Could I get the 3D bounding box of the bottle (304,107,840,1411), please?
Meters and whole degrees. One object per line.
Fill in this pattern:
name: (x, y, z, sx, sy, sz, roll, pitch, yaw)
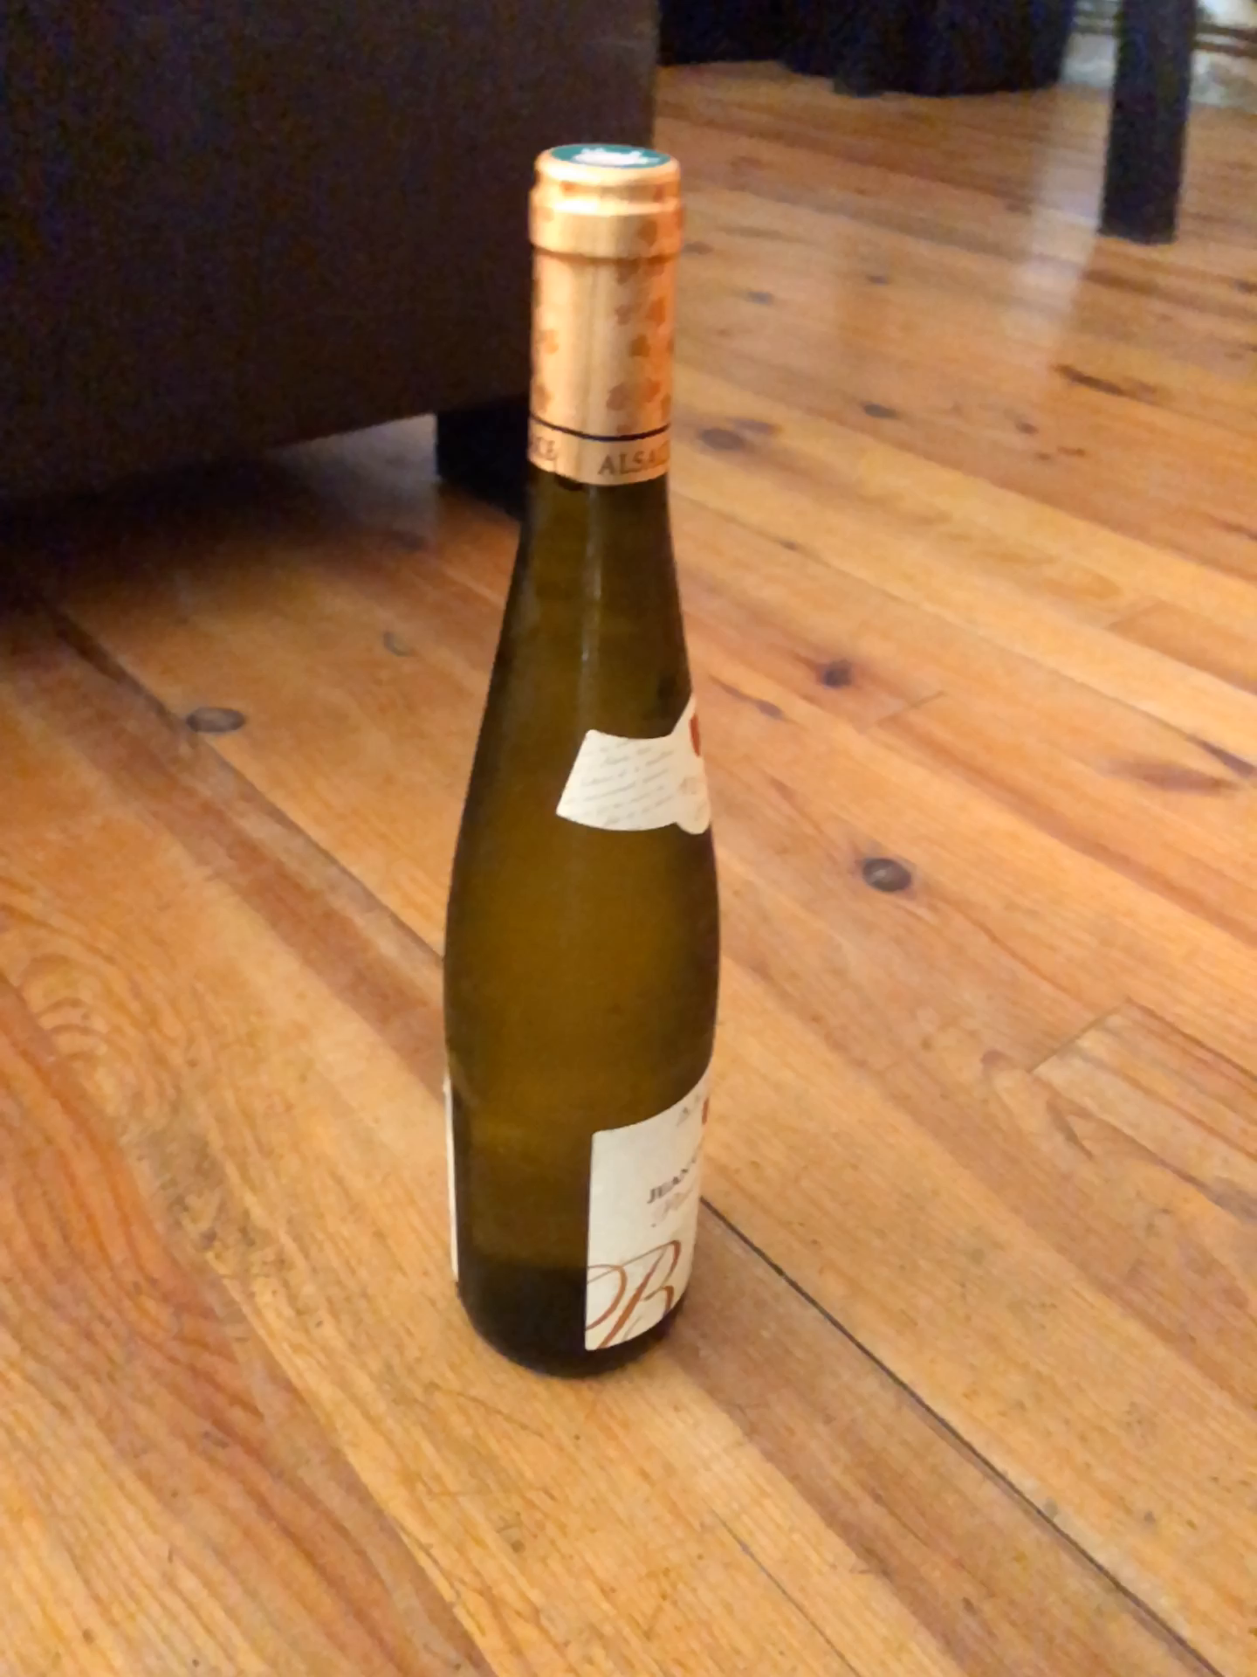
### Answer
bottle: (-0.013, 0.004, 0.347, 0.080, 0.318, 0.081, 2, 34, -1)
